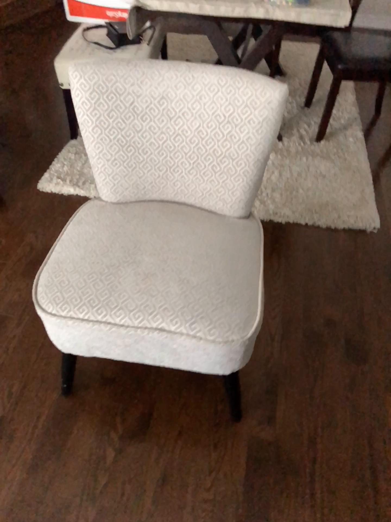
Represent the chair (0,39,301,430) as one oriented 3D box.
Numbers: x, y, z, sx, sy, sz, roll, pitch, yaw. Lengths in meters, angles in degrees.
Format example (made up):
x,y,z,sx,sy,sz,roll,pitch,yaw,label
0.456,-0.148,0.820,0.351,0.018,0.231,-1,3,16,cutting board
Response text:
x,y,z,sx,sy,sz,roll,pitch,yaw,label
-0.091,-0.062,1.198,0.600,0.797,0.642,8,45,6,chair
